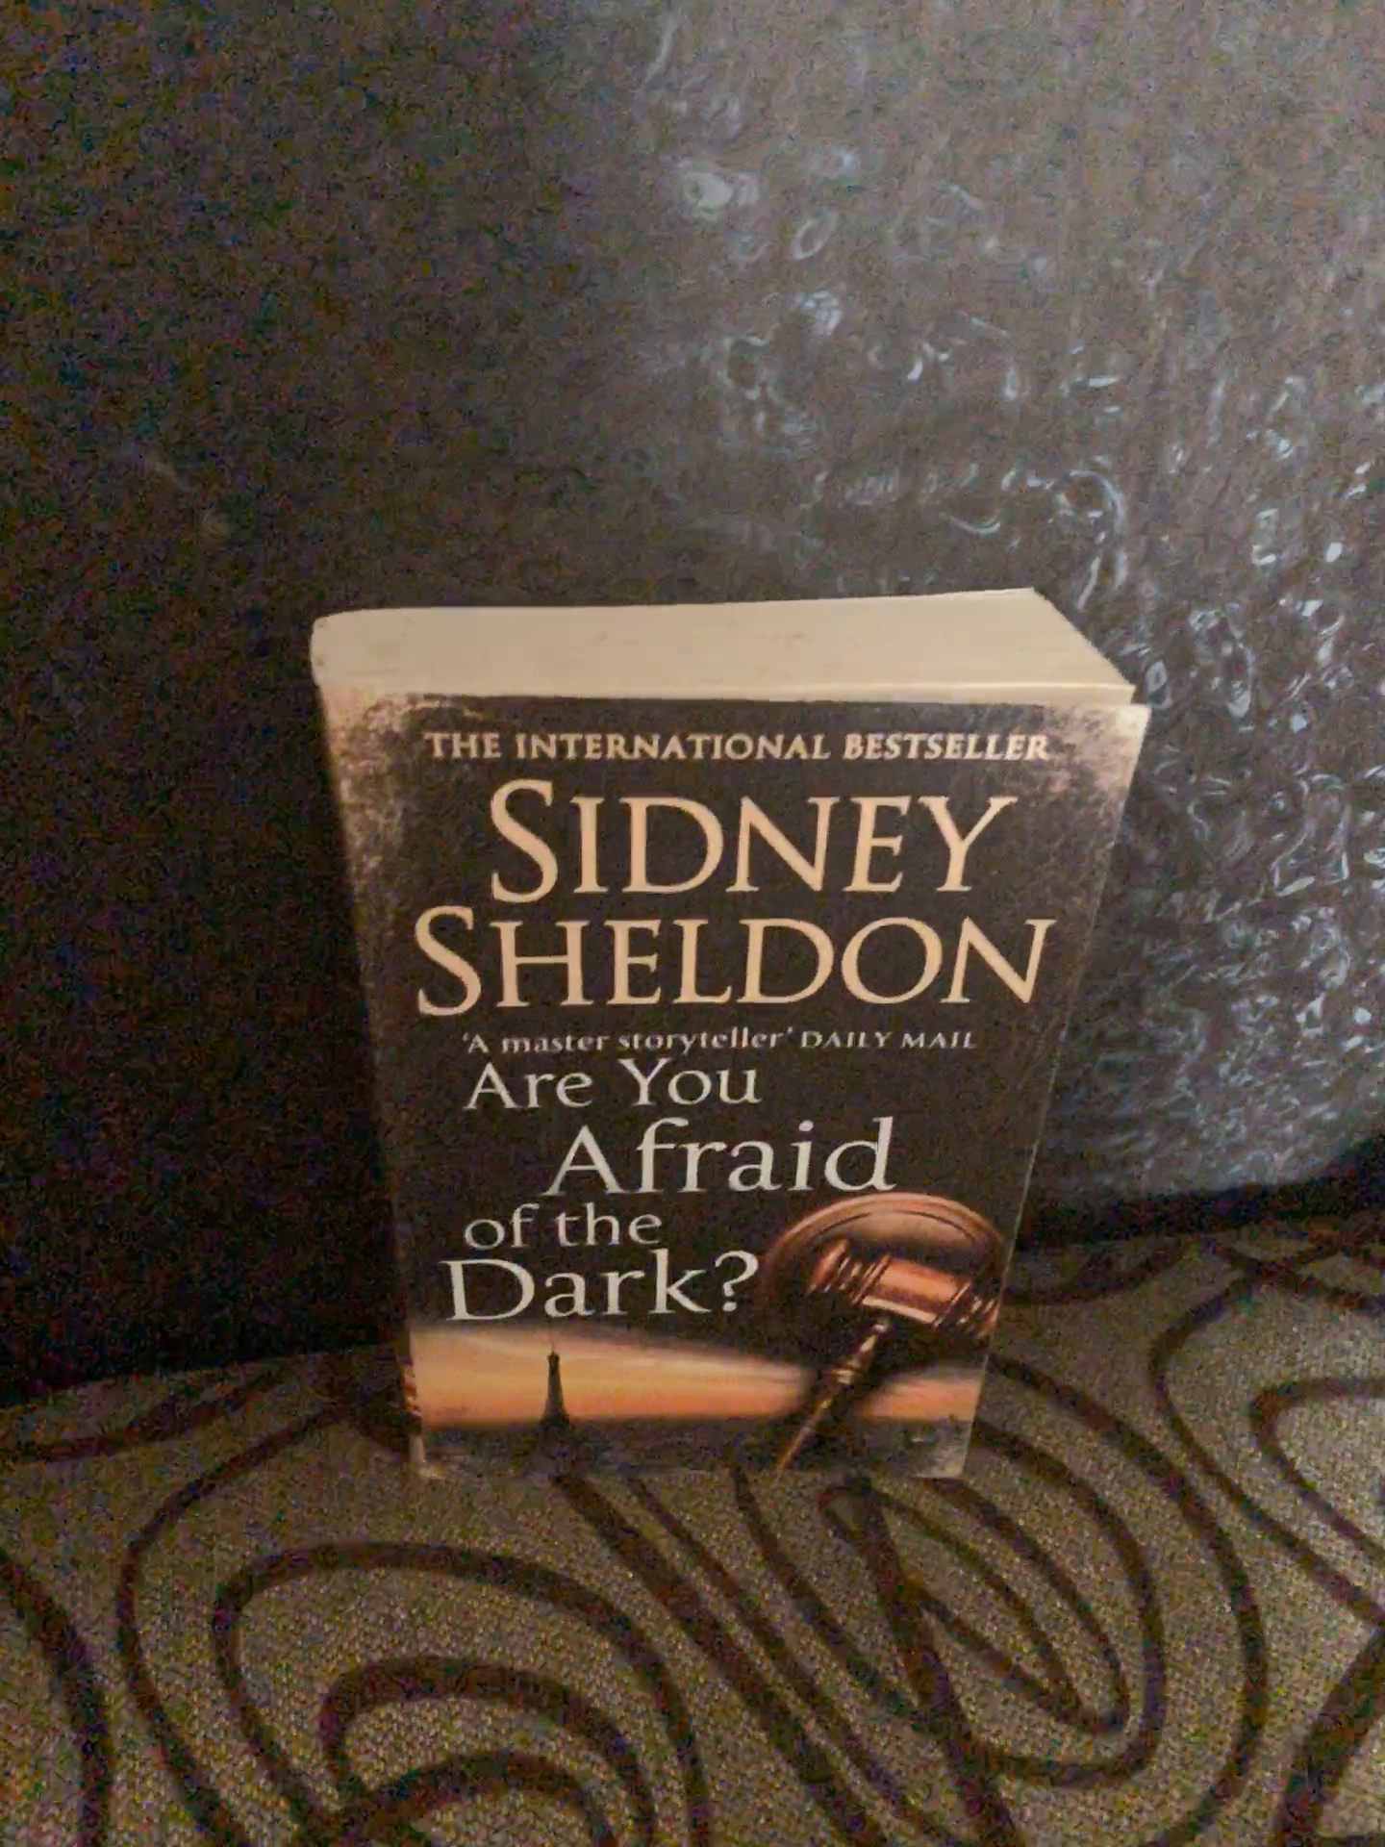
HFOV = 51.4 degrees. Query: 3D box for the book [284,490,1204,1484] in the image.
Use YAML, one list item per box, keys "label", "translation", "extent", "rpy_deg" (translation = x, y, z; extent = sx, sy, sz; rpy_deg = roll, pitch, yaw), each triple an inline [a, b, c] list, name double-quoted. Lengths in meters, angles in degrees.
- label: "book"
  translation: [-0.001, 0.023, 0.251]
  extent: [0.120, 0.179, 0.040]
  rpy_deg: [1, 34, -8]
